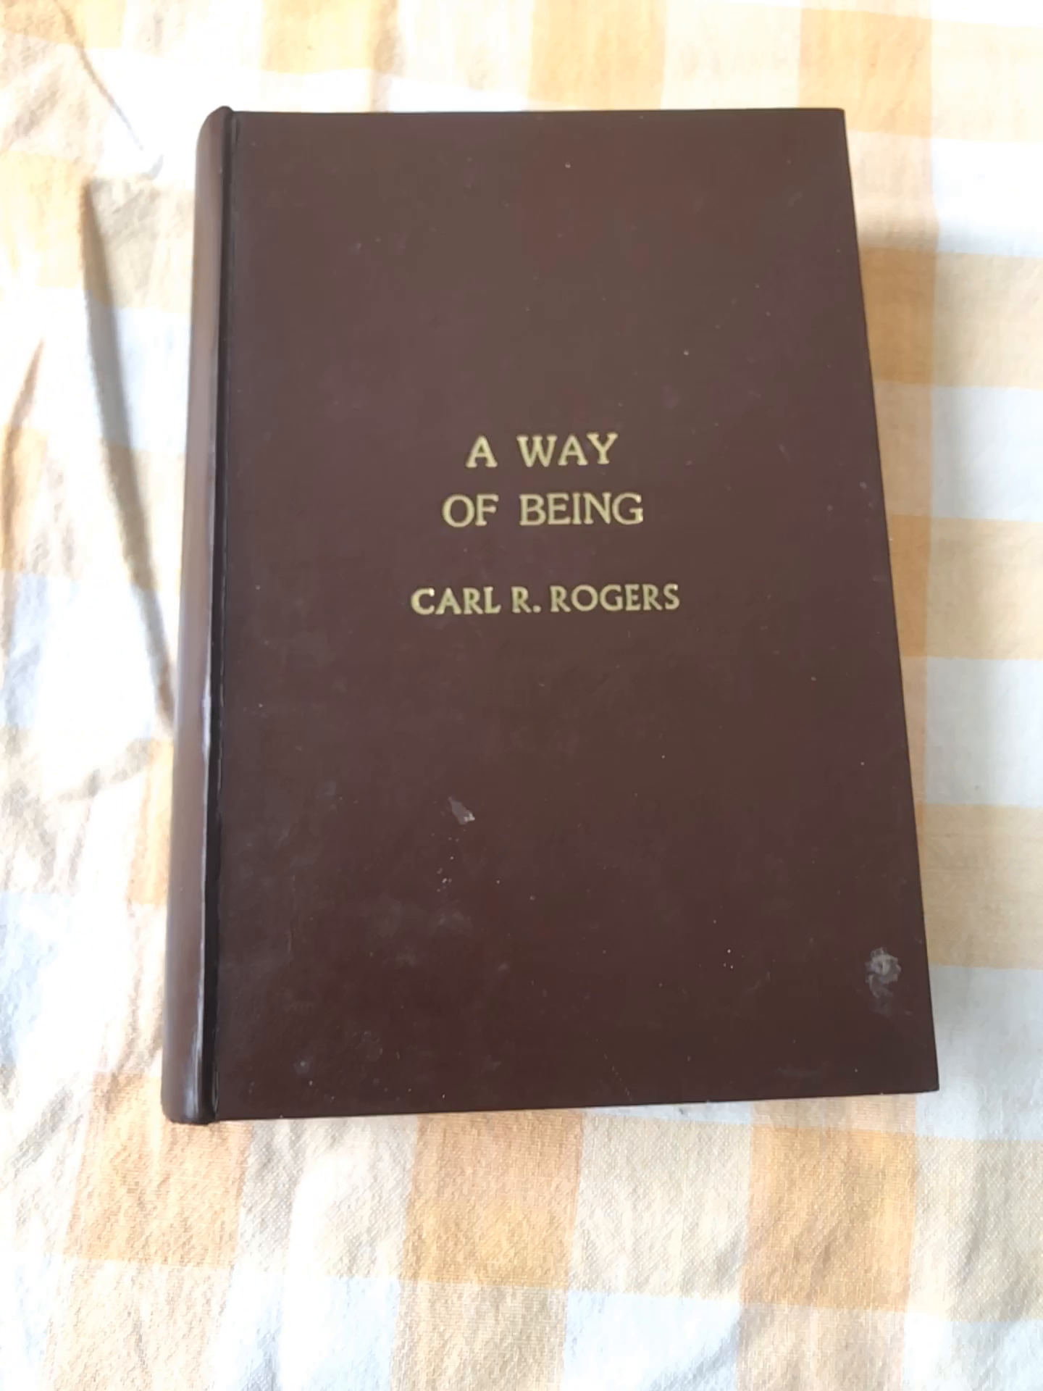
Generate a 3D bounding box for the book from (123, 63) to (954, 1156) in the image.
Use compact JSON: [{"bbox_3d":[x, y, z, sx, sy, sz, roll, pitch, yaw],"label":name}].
[{"bbox_3d":[0.000,-0.021,0.248,0.140,0.060,0.210,-1,78,-2],"label":"book"}]
